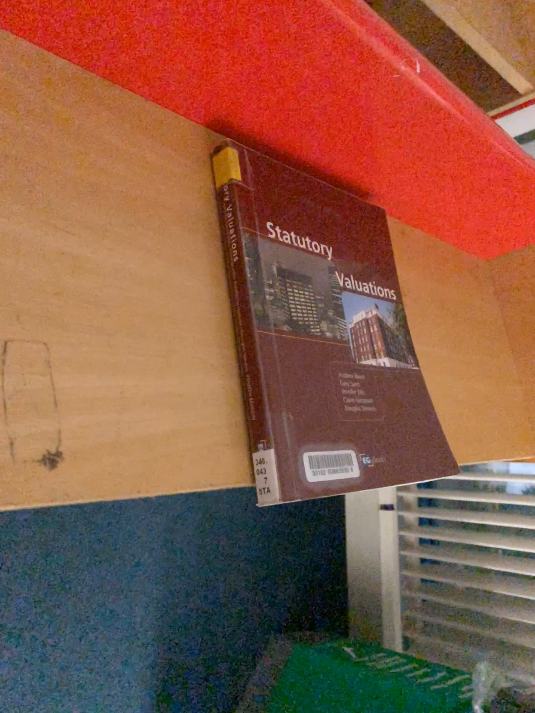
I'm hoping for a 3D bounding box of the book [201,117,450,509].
[{"bbox_3d":[0.049,-0.028,0.409,0.190,0.027,0.252,7,68,-44],"label":"book"}]
